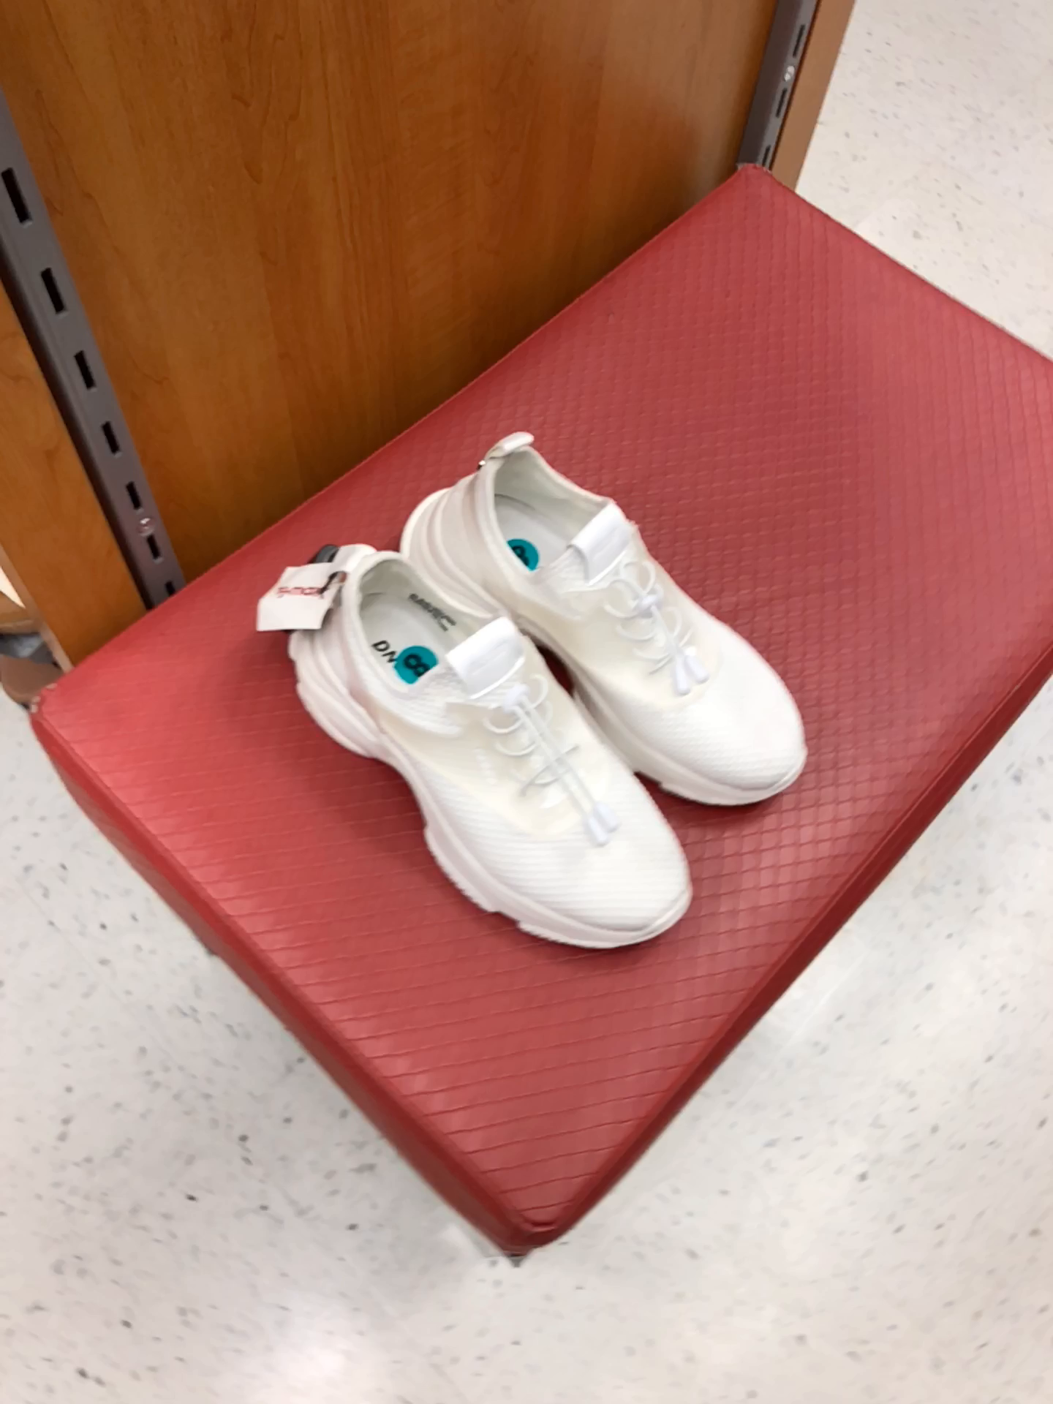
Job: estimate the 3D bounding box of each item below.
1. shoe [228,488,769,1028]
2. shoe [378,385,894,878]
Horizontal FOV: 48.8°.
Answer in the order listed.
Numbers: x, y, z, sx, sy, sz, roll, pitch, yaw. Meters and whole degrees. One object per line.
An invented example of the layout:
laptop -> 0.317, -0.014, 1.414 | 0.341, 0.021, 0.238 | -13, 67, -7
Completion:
shoe -> -0.022, 0.028, 0.641 | 0.278, 0.110, 0.112 | 42, 68, 17
shoe -> 0.053, -0.044, 0.683 | 0.278, 0.110, 0.109 | 40, 67, 16
